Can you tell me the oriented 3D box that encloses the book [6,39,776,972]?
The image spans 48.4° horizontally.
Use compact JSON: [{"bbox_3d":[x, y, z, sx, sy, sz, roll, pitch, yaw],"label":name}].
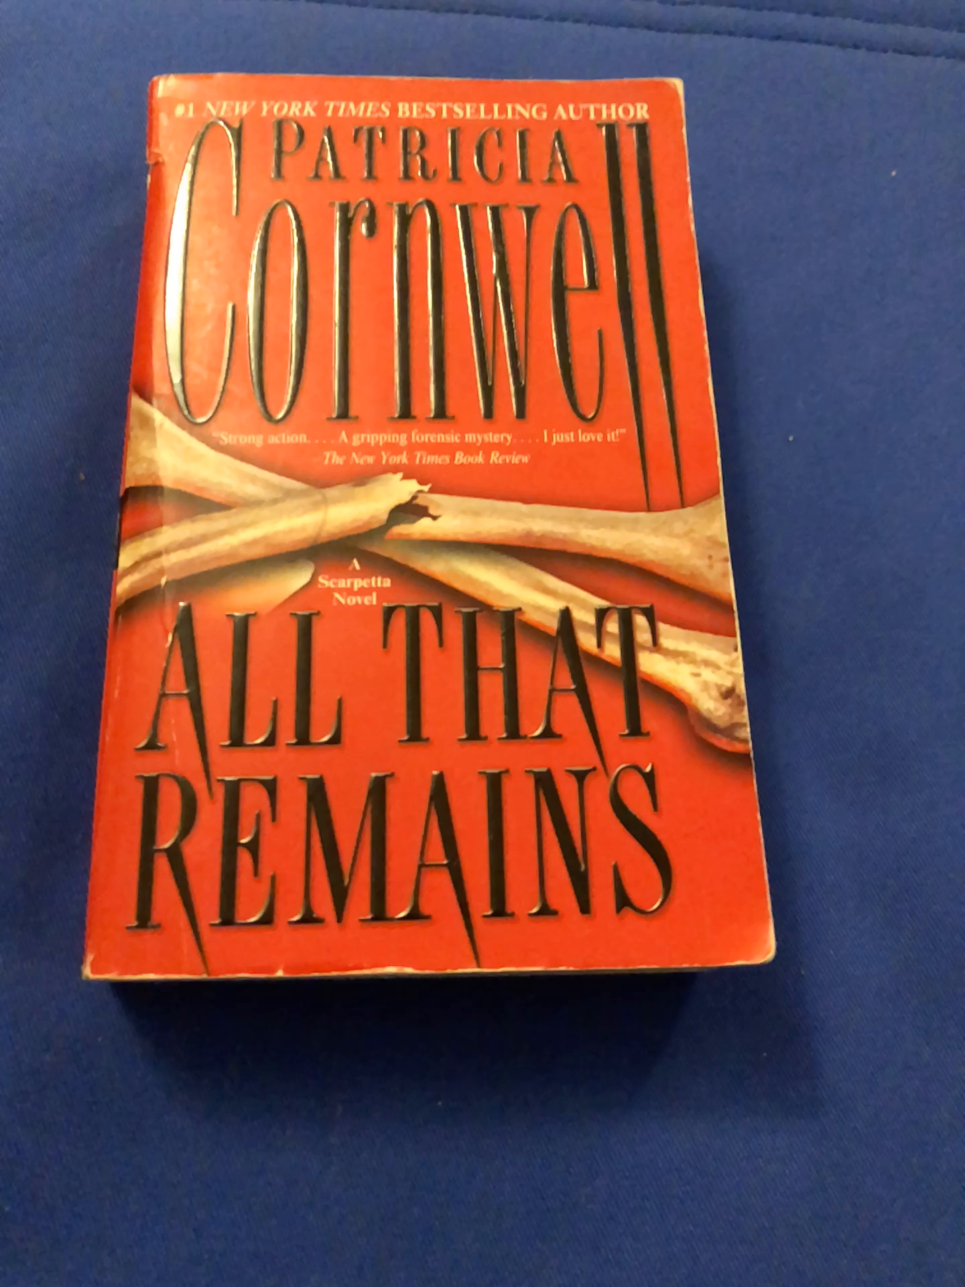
[{"bbox_3d":[-0.015,-0.030,0.193,0.110,0.030,0.167,0,72,-3],"label":"book"}]
